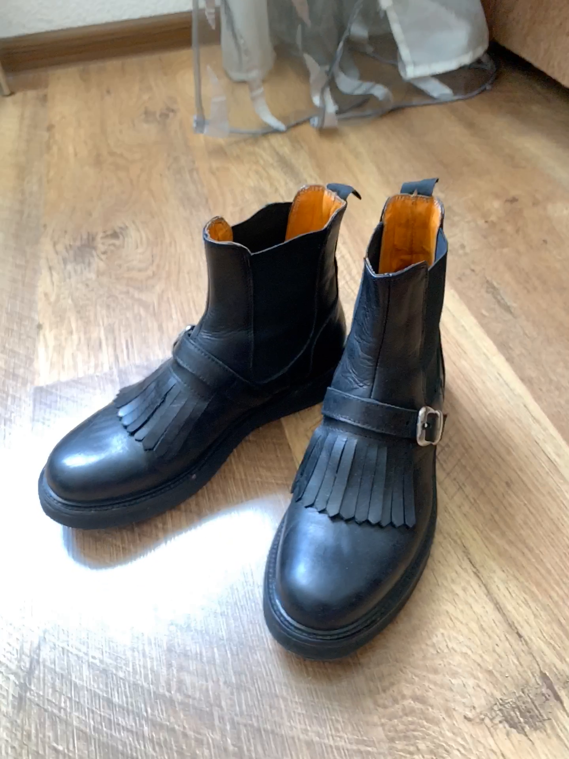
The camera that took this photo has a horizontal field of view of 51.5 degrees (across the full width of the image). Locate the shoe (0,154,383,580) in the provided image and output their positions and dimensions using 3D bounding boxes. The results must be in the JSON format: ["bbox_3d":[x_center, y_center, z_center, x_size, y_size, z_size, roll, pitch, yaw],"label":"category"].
[{"bbox_3d":[-0.064,-0.016,0.388,0.260,0.151,0.090,-33,53,-23],"label":"shoe"}]

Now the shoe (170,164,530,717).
[{"bbox_3d":[0.056,0.016,0.336,0.100,0.149,0.261,14,50,16],"label":"shoe"}]
